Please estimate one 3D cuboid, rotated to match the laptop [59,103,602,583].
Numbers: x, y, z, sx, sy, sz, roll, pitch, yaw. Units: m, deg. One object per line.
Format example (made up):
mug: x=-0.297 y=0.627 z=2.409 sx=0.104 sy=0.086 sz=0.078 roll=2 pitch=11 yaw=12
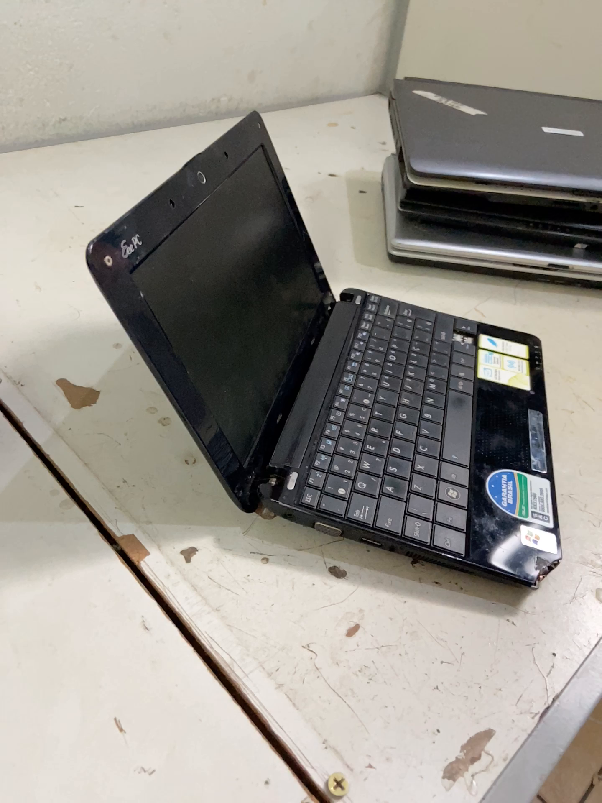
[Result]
laptop: x=0.046 y=-0.065 z=0.406 sx=0.265 sy=0.131 sz=0.260 roll=16 pitch=40 yaw=6
